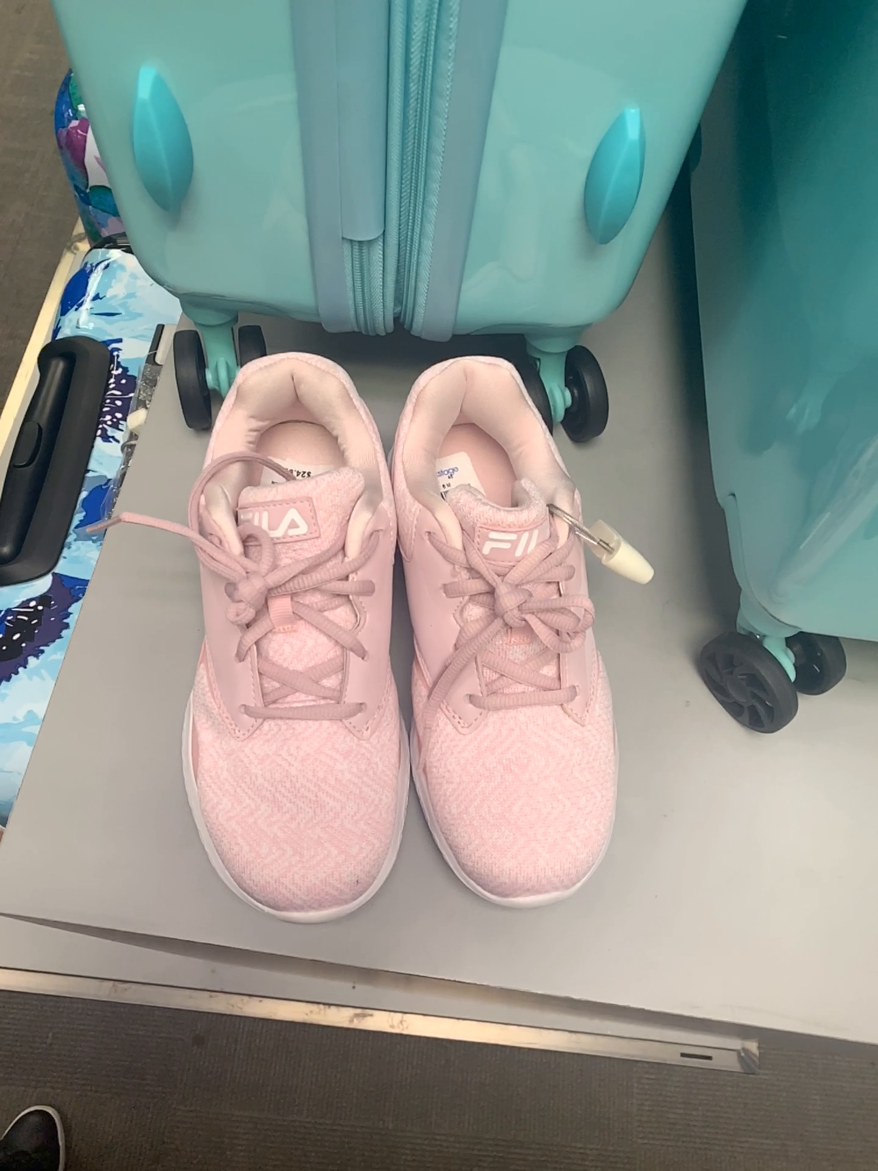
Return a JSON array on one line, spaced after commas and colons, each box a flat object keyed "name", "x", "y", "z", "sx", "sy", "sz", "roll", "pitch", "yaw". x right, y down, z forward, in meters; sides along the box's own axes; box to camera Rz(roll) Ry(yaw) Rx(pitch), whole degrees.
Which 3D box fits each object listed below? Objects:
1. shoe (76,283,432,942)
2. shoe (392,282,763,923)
[{"name": "shoe", "x": -0.067, "y": 0.008, "z": 0.374, "sx": 0.107, "sy": 0.104, "sz": 0.251, "roll": -1, "pitch": 65, "yaw": -5}, {"name": "shoe", "x": 0.040, "y": 0.004, "z": 0.384, "sx": 0.107, "sy": 0.104, "sz": 0.251, "roll": -1, "pitch": 65, "yaw": -5}]
